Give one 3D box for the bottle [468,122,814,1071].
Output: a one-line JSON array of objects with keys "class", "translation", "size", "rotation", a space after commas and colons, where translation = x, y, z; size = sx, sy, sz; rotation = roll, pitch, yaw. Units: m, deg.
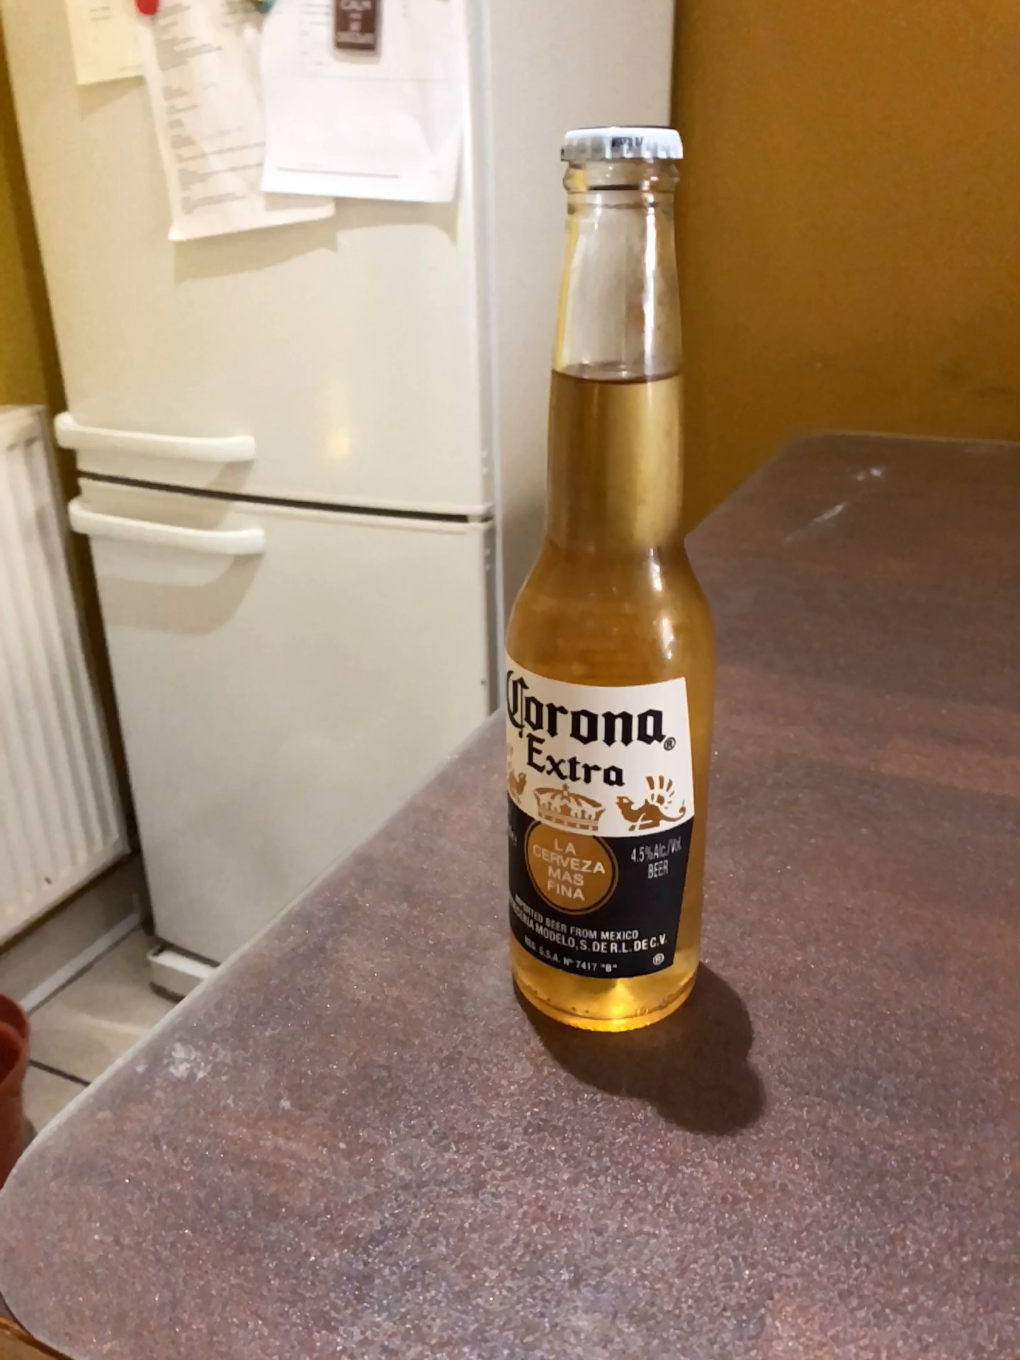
[{"class": "bottle", "translation": [0.034, -0.017, 0.306], "size": [0.060, 0.238, 0.060], "rotation": [-1, 23, 0]}]
